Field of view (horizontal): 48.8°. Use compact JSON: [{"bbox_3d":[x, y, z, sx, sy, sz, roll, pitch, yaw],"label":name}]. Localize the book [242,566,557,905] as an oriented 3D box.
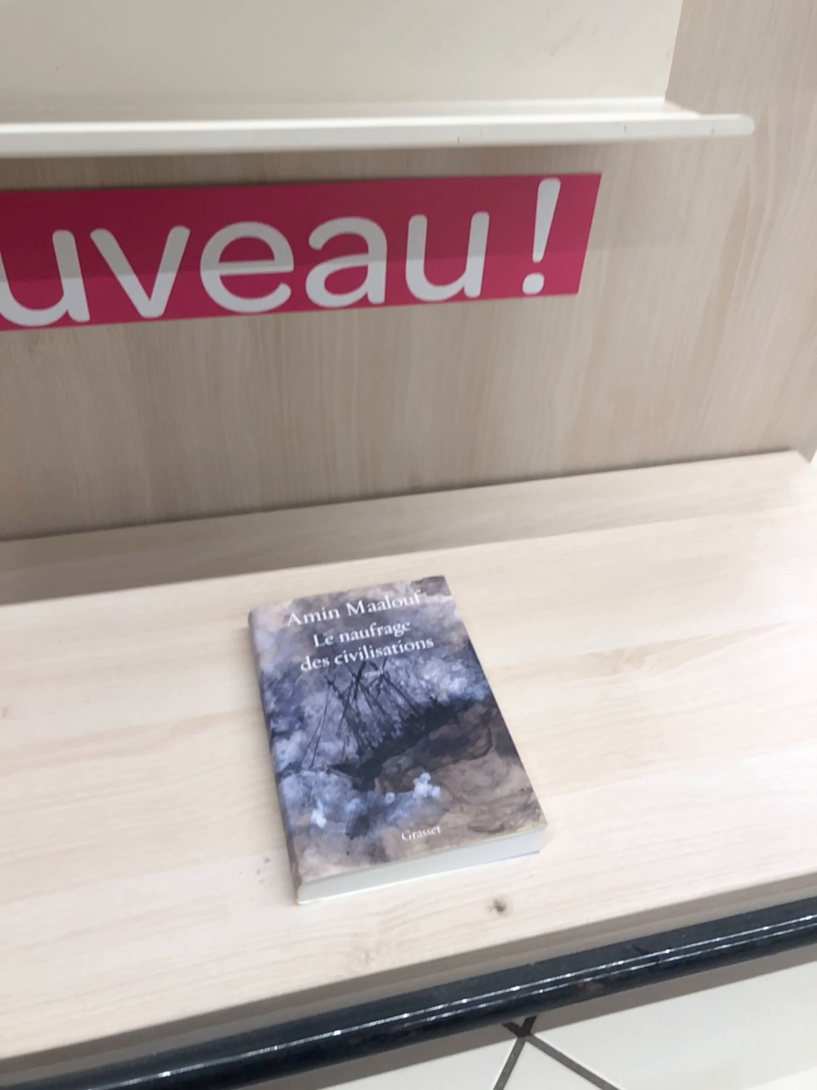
[{"bbox_3d":[-0.016,0.104,0.569,0.147,0.026,0.212,-8,44,-14],"label":"book"}]
